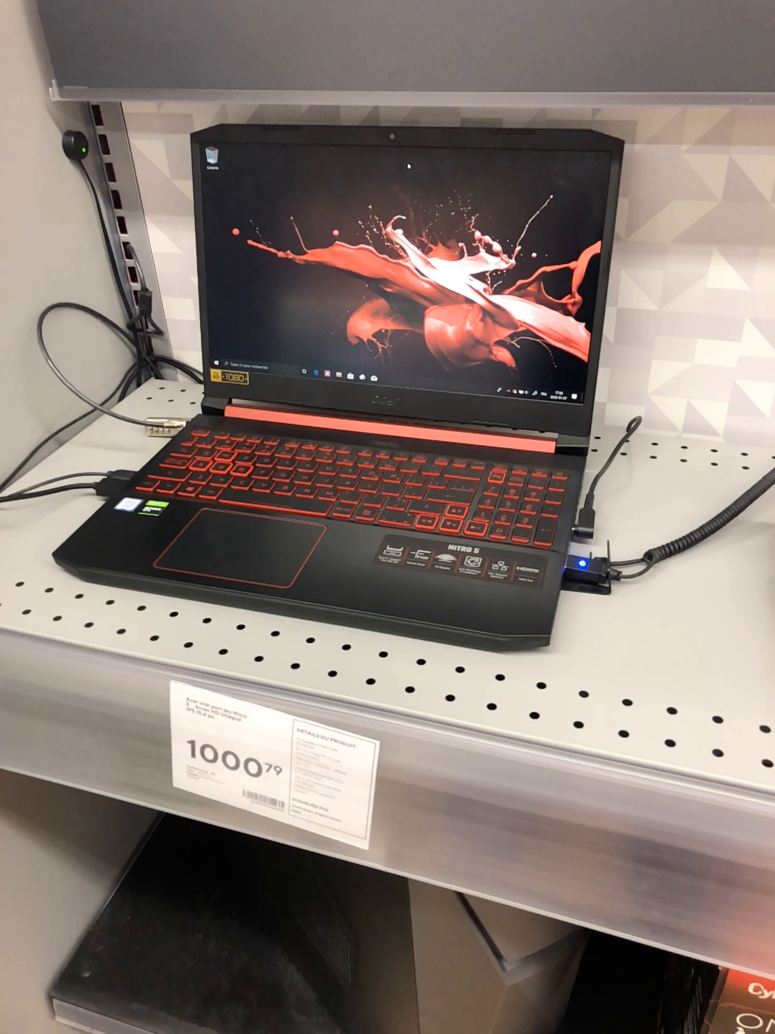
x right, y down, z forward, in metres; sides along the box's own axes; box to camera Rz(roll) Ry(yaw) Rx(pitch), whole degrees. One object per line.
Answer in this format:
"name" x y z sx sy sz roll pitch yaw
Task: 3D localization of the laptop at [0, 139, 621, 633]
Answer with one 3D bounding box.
"laptop" -0.034 -0.124 0.639 0.361 0.241 0.282 8 35 14
